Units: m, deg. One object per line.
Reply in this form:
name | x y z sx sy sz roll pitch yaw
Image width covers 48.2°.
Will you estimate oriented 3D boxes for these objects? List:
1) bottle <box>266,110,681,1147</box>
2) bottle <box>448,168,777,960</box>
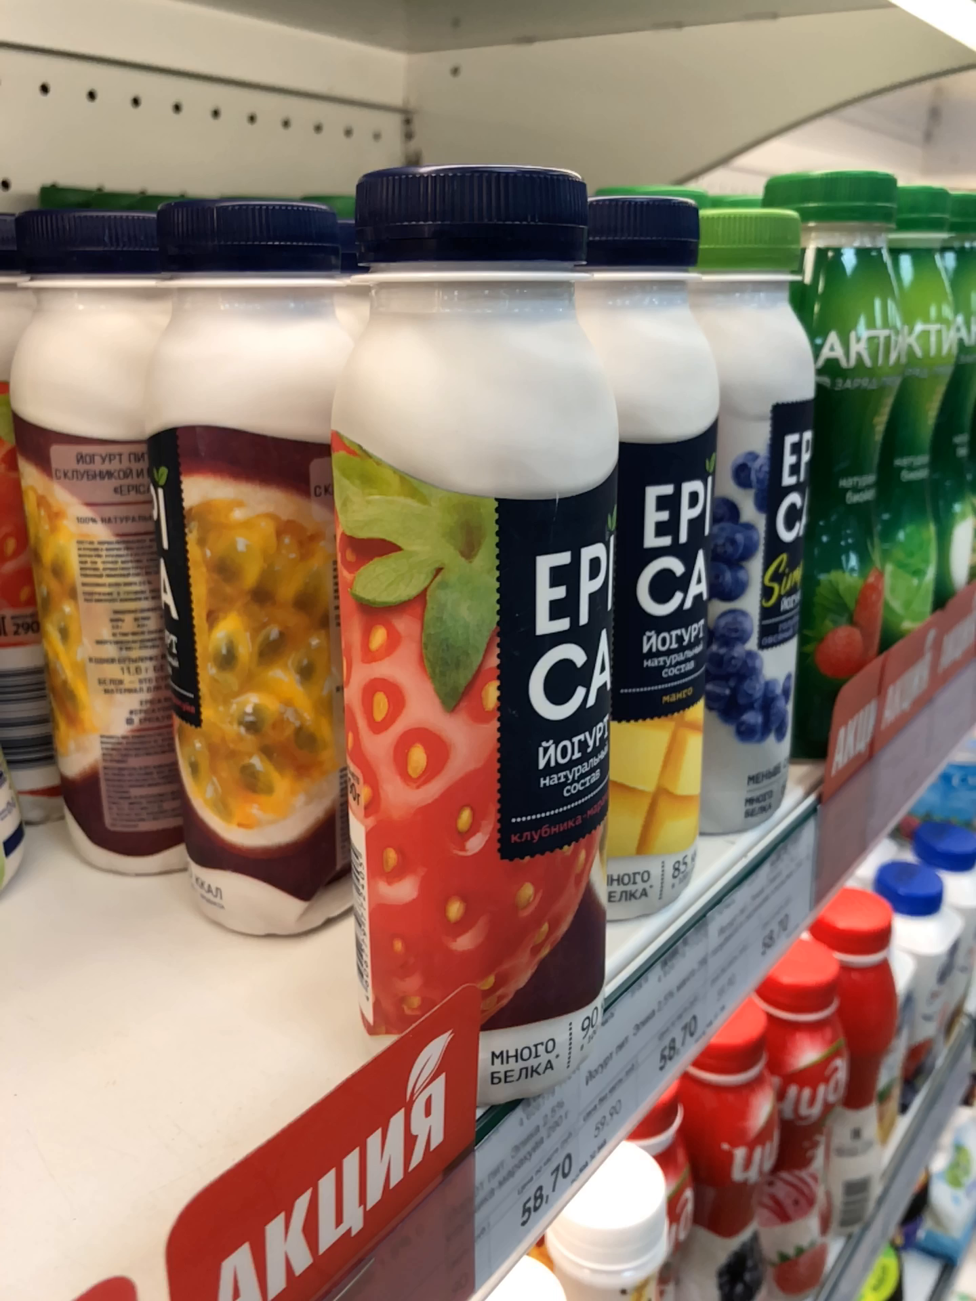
bottle | -0.003 -0.002 0.213 0.050 0.180 0.050 1 19 0
bottle | 0.027 -0.021 0.272 0.053 0.177 0.051 1 19 0
